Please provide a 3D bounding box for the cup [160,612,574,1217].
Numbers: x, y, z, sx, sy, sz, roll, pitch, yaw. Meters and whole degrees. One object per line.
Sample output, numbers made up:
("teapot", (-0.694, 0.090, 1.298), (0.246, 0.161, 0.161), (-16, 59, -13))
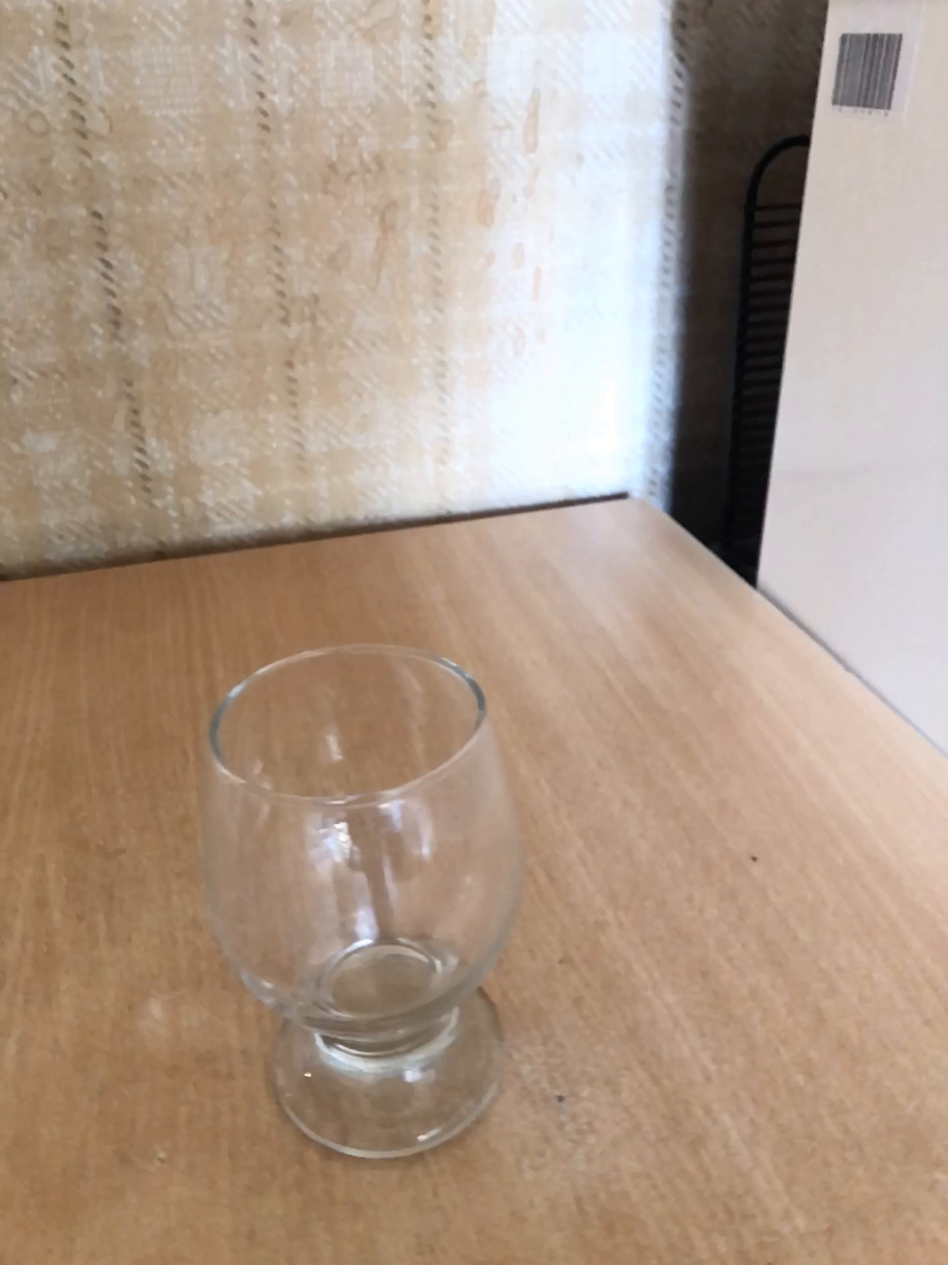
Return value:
("cup", (-0.026, 0.064, 0.257), (0.076, 0.105, 0.074), (-1, 29, 1))
